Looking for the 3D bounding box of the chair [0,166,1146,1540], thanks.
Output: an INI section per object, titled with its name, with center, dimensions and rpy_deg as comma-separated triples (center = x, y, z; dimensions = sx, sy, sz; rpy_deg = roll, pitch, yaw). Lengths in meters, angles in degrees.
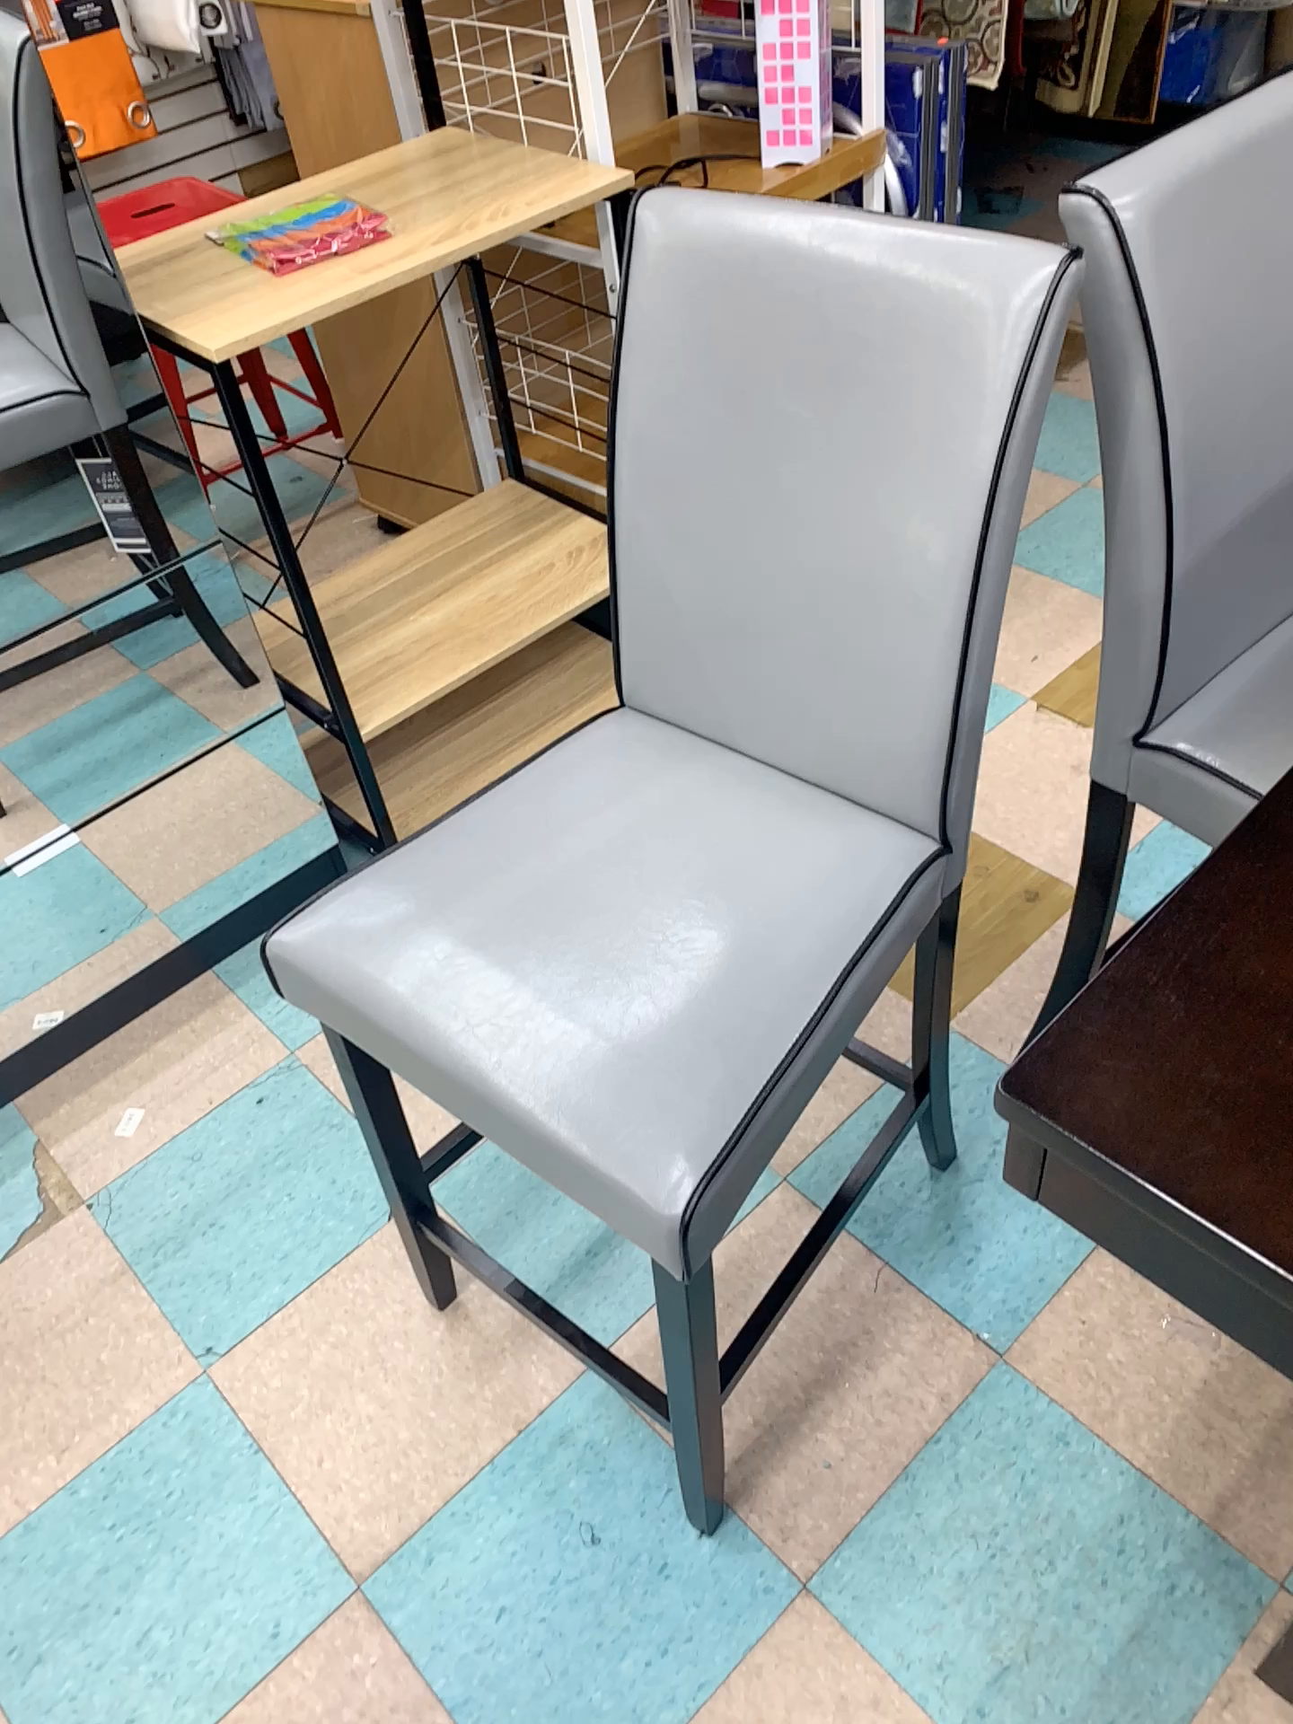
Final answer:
[chair]
center = 0.009, 0.027, 1.114
dimensions = 0.451, 0.930, 0.561
rpy_deg = 27, 54, 31
